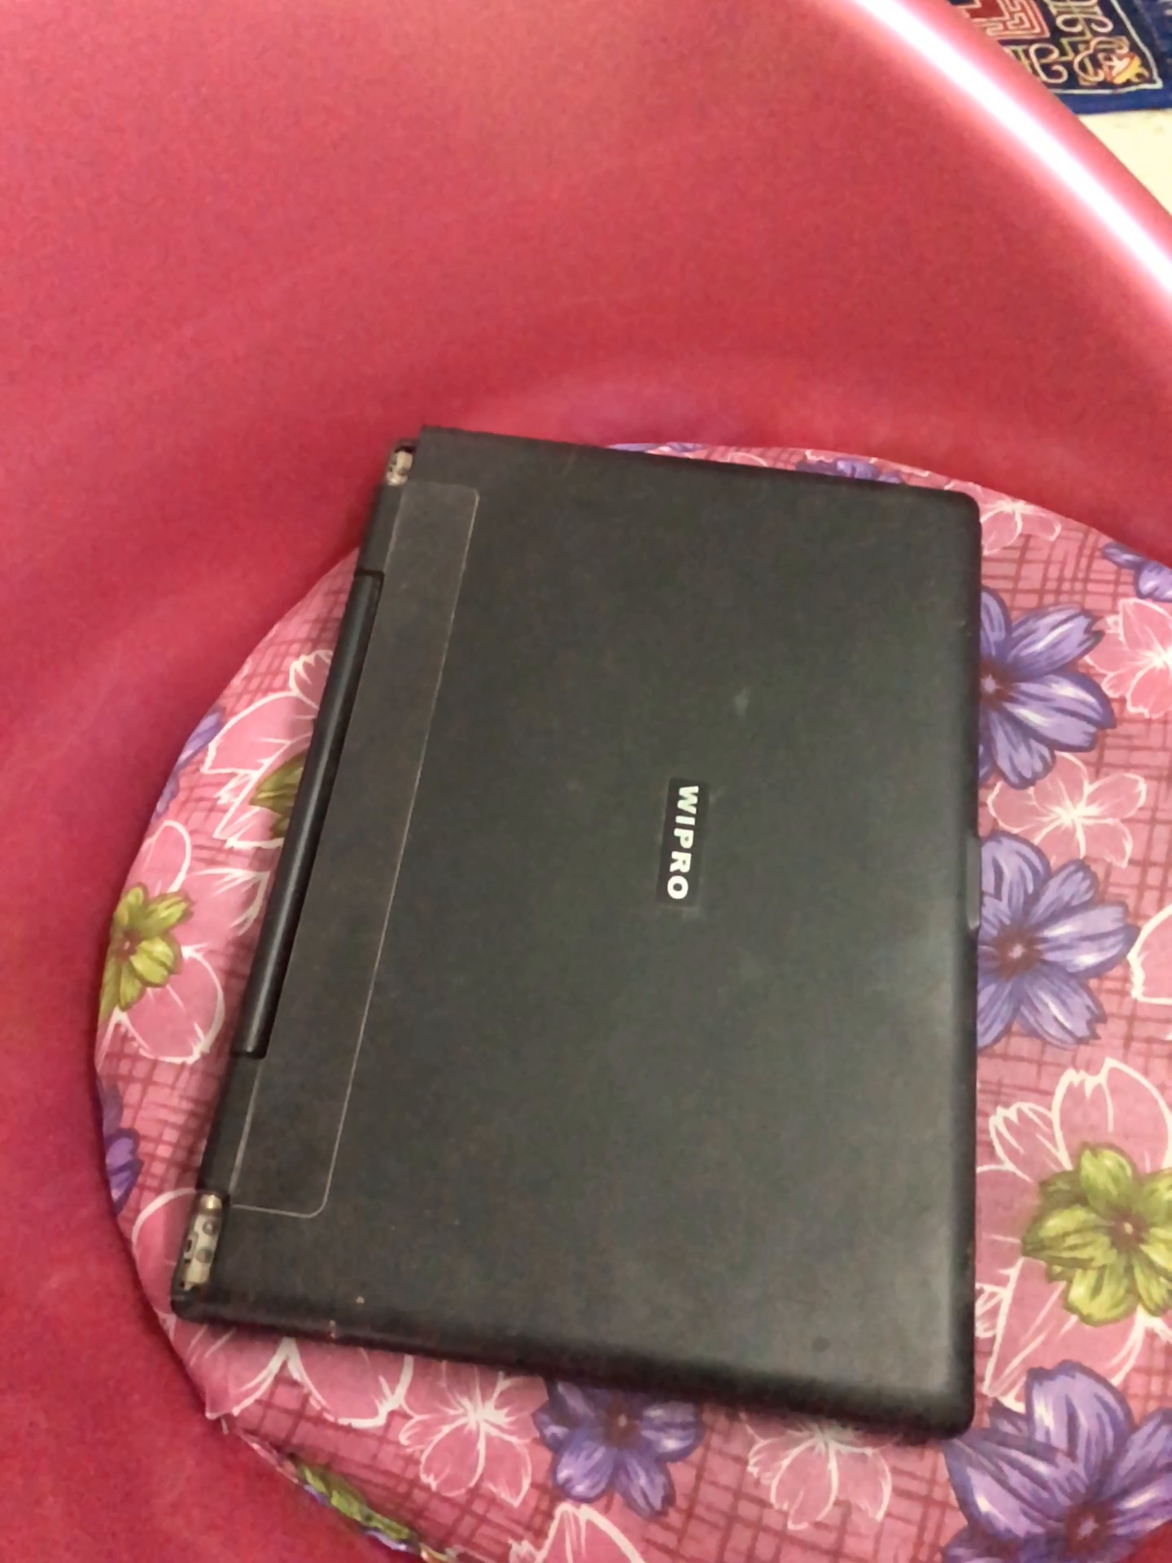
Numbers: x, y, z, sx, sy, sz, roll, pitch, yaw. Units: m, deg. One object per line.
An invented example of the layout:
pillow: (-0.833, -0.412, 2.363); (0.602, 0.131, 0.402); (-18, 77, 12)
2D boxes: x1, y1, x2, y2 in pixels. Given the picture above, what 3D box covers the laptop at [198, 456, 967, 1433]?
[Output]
laptop: (0.017, 0.029, 0.447); (0.220, 0.006, 0.323); (7, 65, 4)
